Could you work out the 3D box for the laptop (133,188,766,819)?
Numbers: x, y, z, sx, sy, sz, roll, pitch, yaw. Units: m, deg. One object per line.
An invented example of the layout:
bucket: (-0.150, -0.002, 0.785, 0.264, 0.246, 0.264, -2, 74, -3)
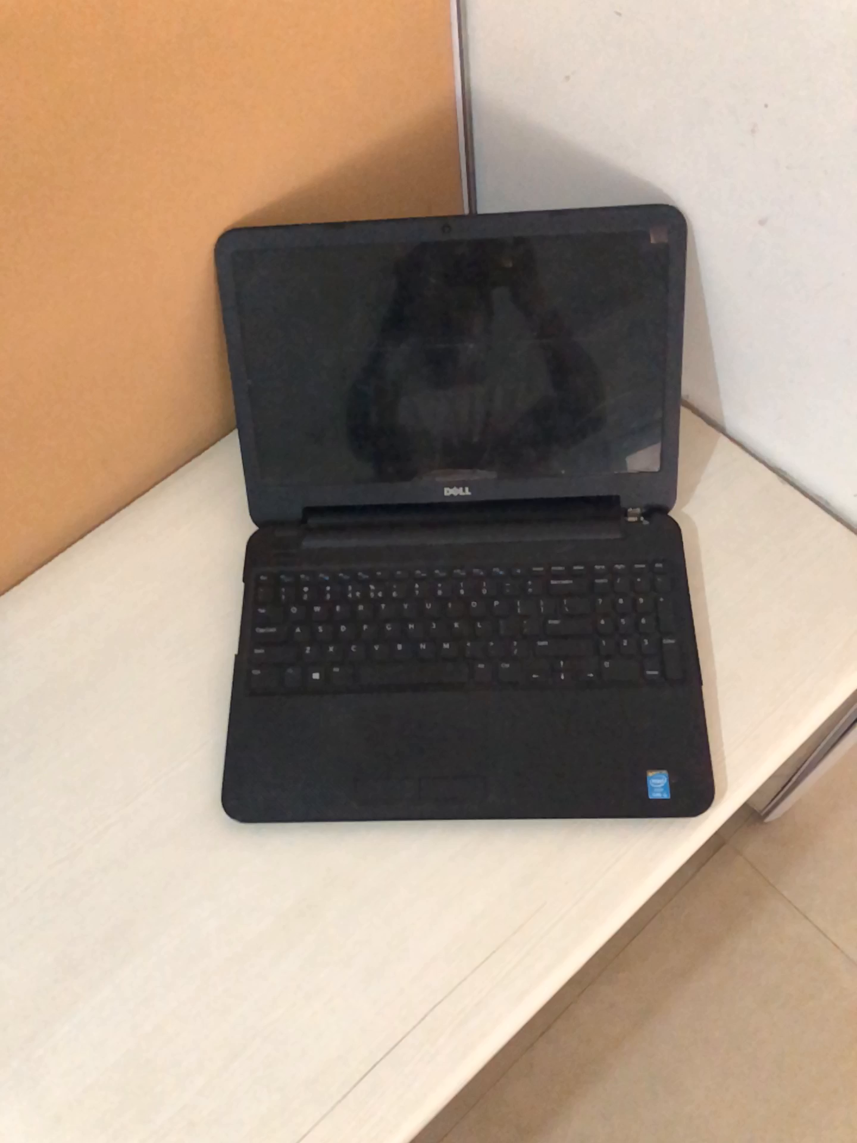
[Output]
laptop: (0.015, -0.051, 0.691, 0.352, 0.175, 0.414, -1, 63, 5)
